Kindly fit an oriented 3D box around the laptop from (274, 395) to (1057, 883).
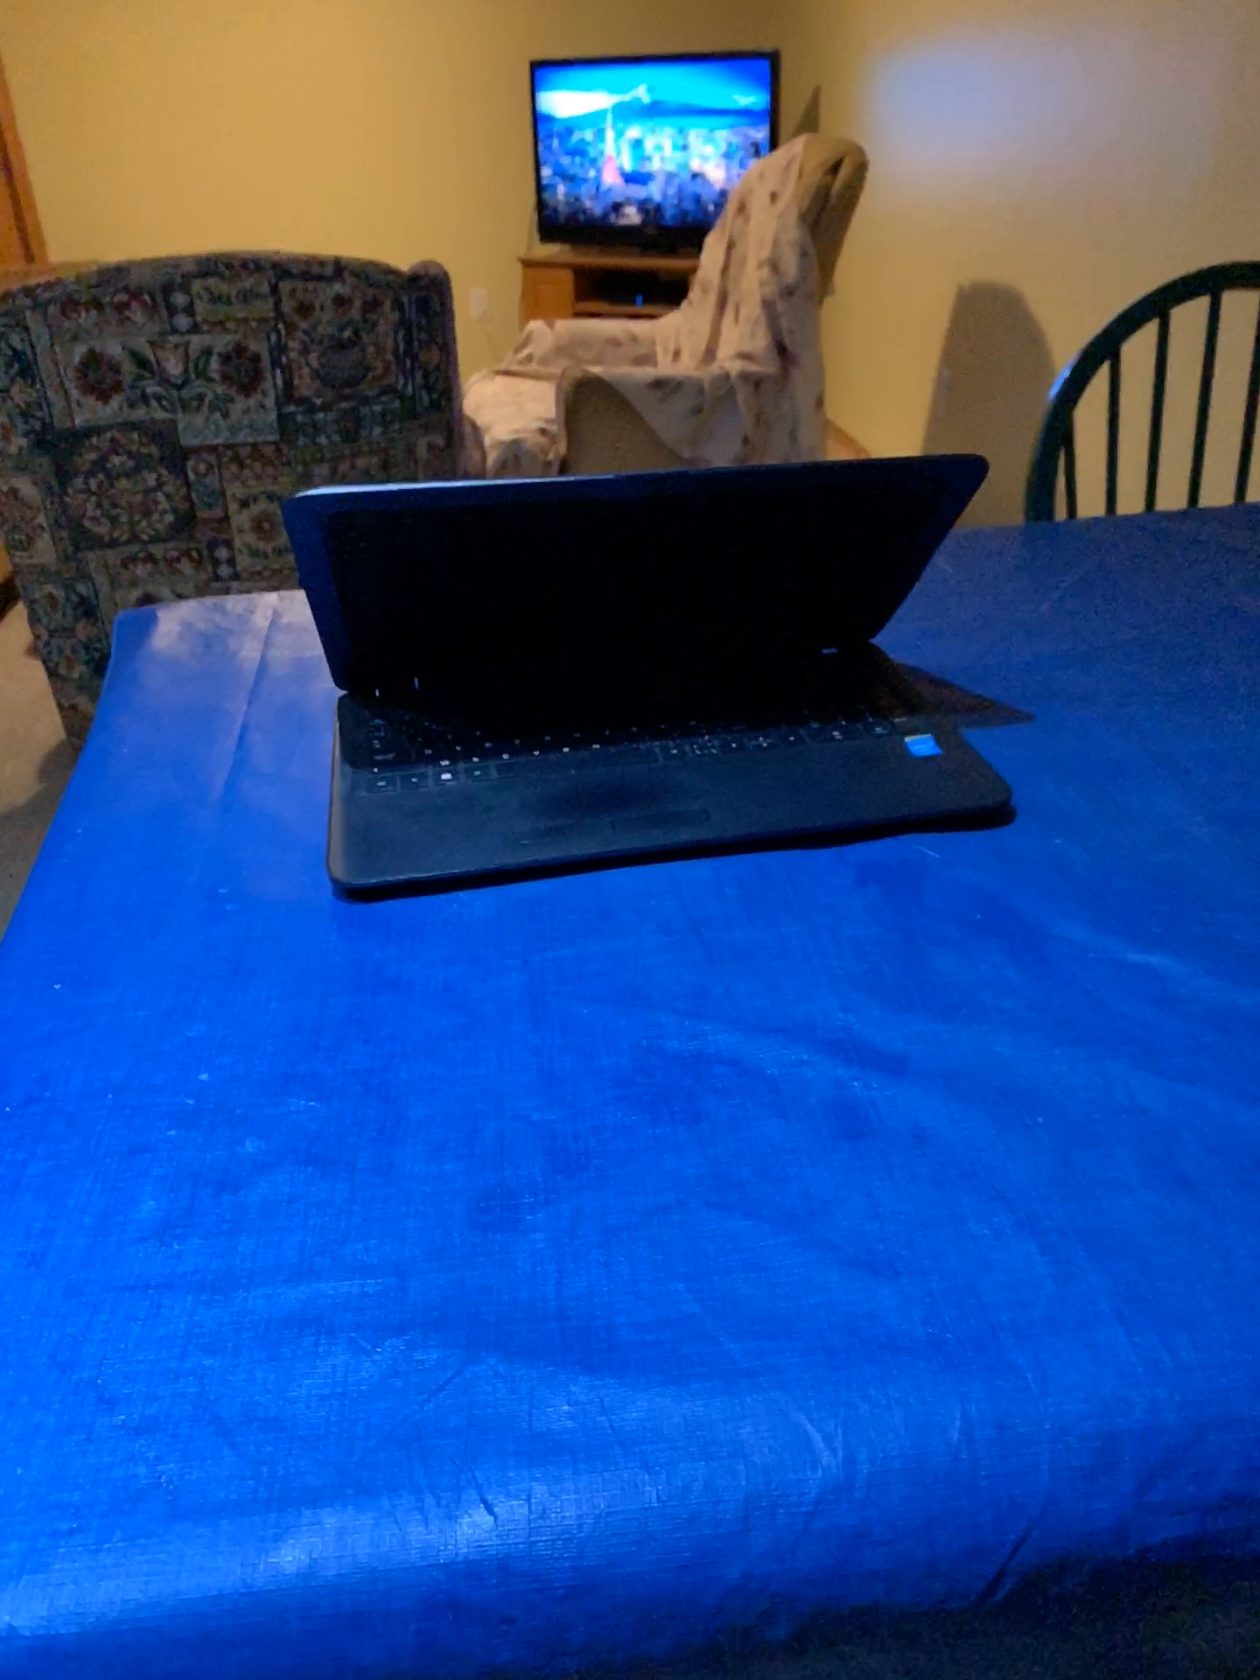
[{"bbox_3d":[0.005,-0.134,0.751,0.370,0.167,0.254,-6,30,-7],"label":"laptop"}]
